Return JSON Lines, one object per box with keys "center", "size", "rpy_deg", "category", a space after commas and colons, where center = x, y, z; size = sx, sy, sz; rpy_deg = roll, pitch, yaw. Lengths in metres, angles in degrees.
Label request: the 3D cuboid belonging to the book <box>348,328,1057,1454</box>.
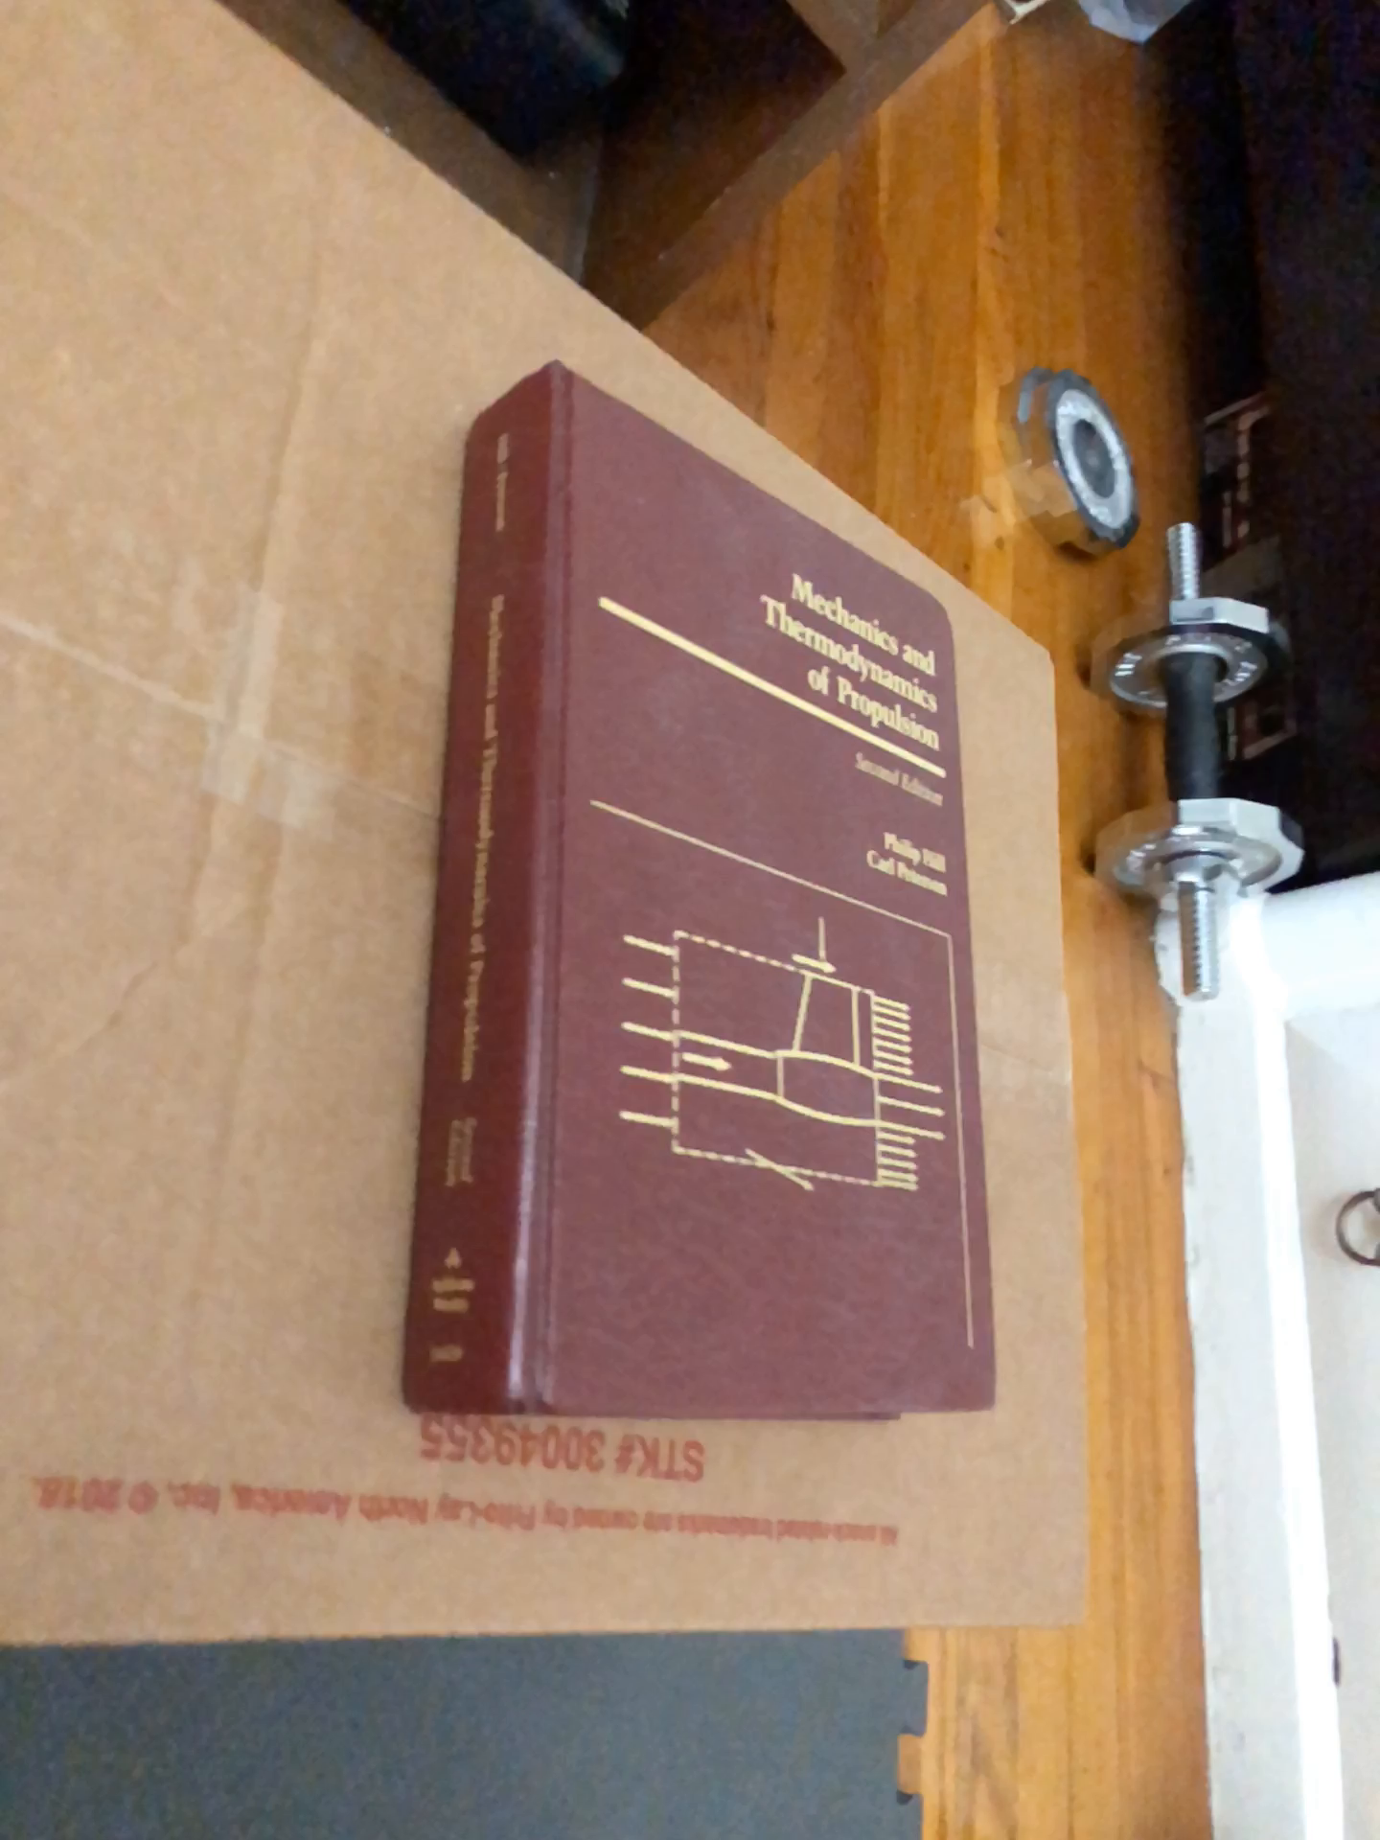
{"center": [0.016, 0.007, 0.382], "size": [0.191, 0.040, 0.240], "rpy_deg": [19, 64, -43], "category": "book"}
